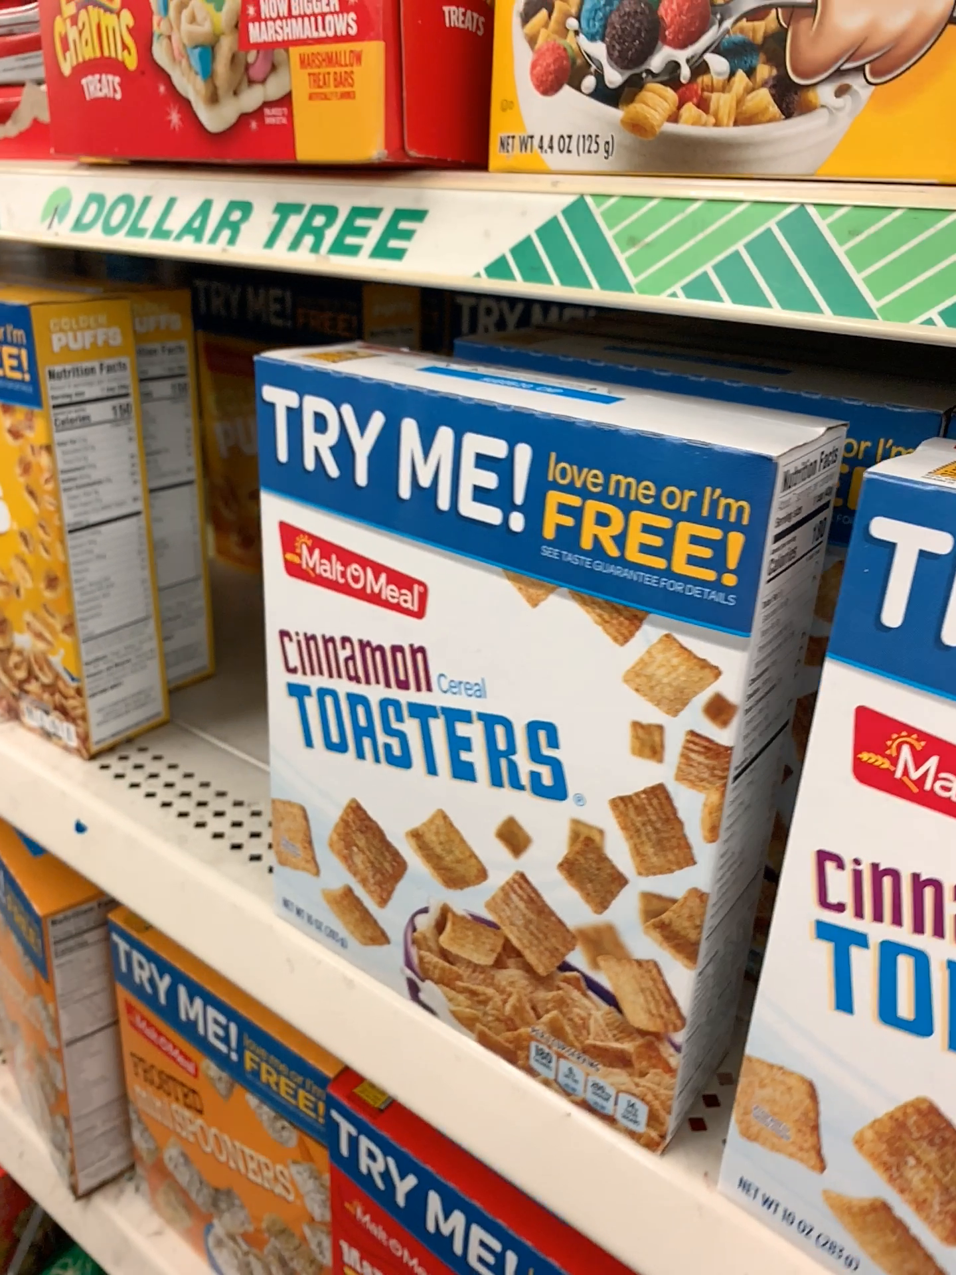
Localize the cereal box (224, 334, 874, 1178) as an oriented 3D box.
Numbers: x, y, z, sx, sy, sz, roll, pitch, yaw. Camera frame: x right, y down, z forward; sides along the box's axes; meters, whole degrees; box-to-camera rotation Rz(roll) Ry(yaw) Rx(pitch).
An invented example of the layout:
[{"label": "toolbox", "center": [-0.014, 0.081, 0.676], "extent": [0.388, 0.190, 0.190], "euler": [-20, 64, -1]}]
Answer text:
[{"label": "cereal box", "center": [0.005, 0.029, 0.306], "extent": [0.170, 0.209, 0.050], "euler": [20, 30, 31]}]
